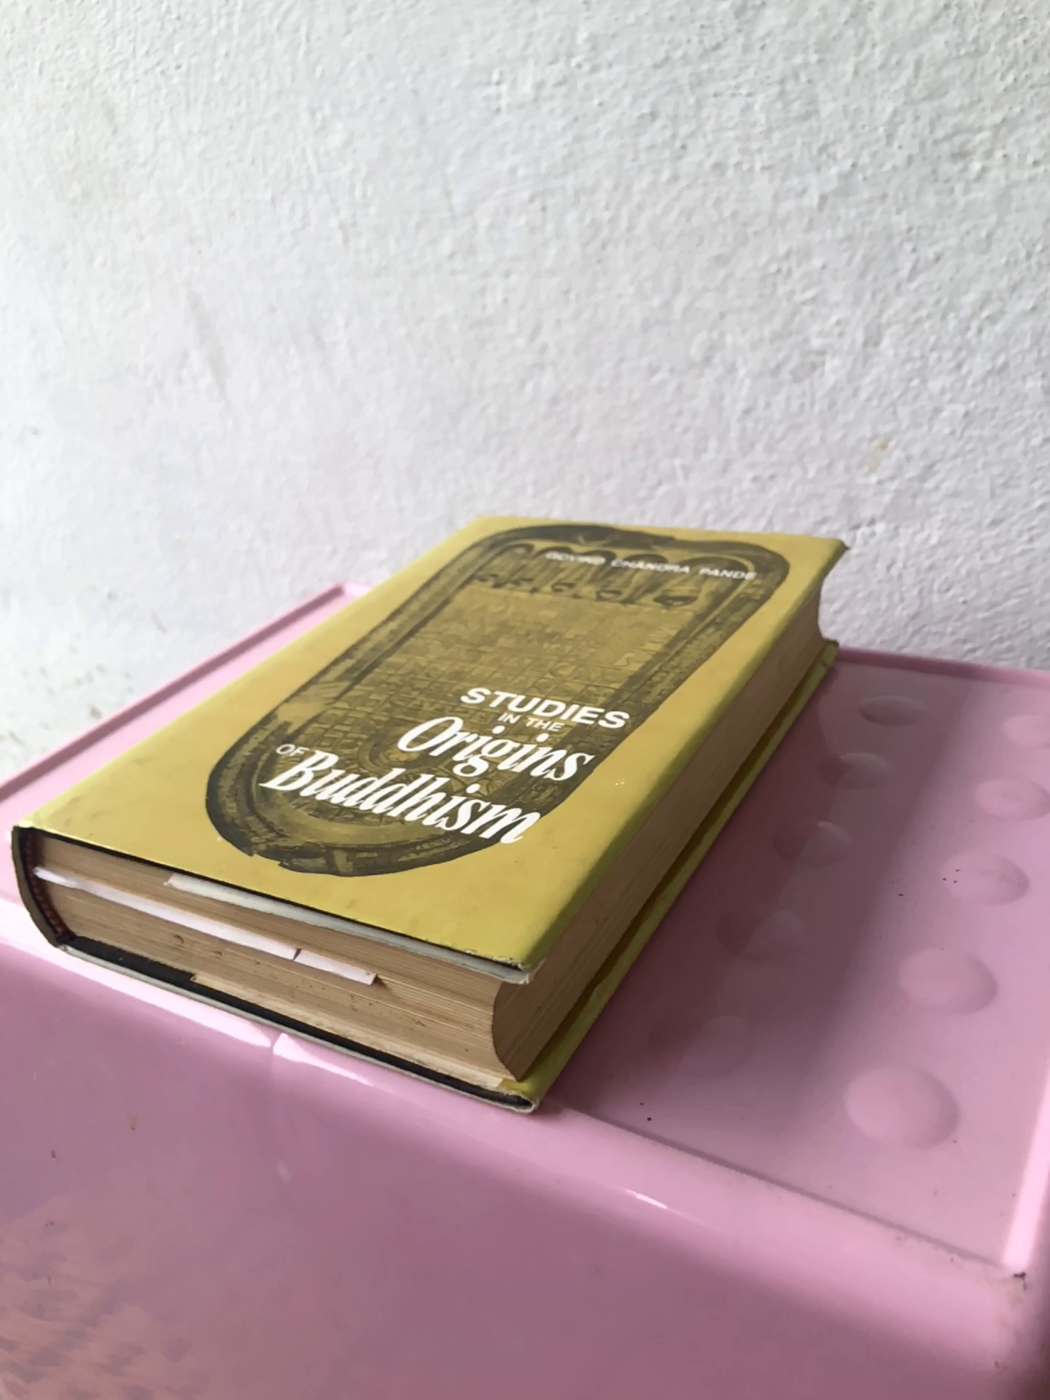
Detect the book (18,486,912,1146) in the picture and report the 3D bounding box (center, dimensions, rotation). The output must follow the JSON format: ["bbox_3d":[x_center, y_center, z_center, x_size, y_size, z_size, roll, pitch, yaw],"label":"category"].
[{"bbox_3d":[0.006,0.001,0.342,0.150,0.040,0.241,10,32,28],"label":"book"}]
